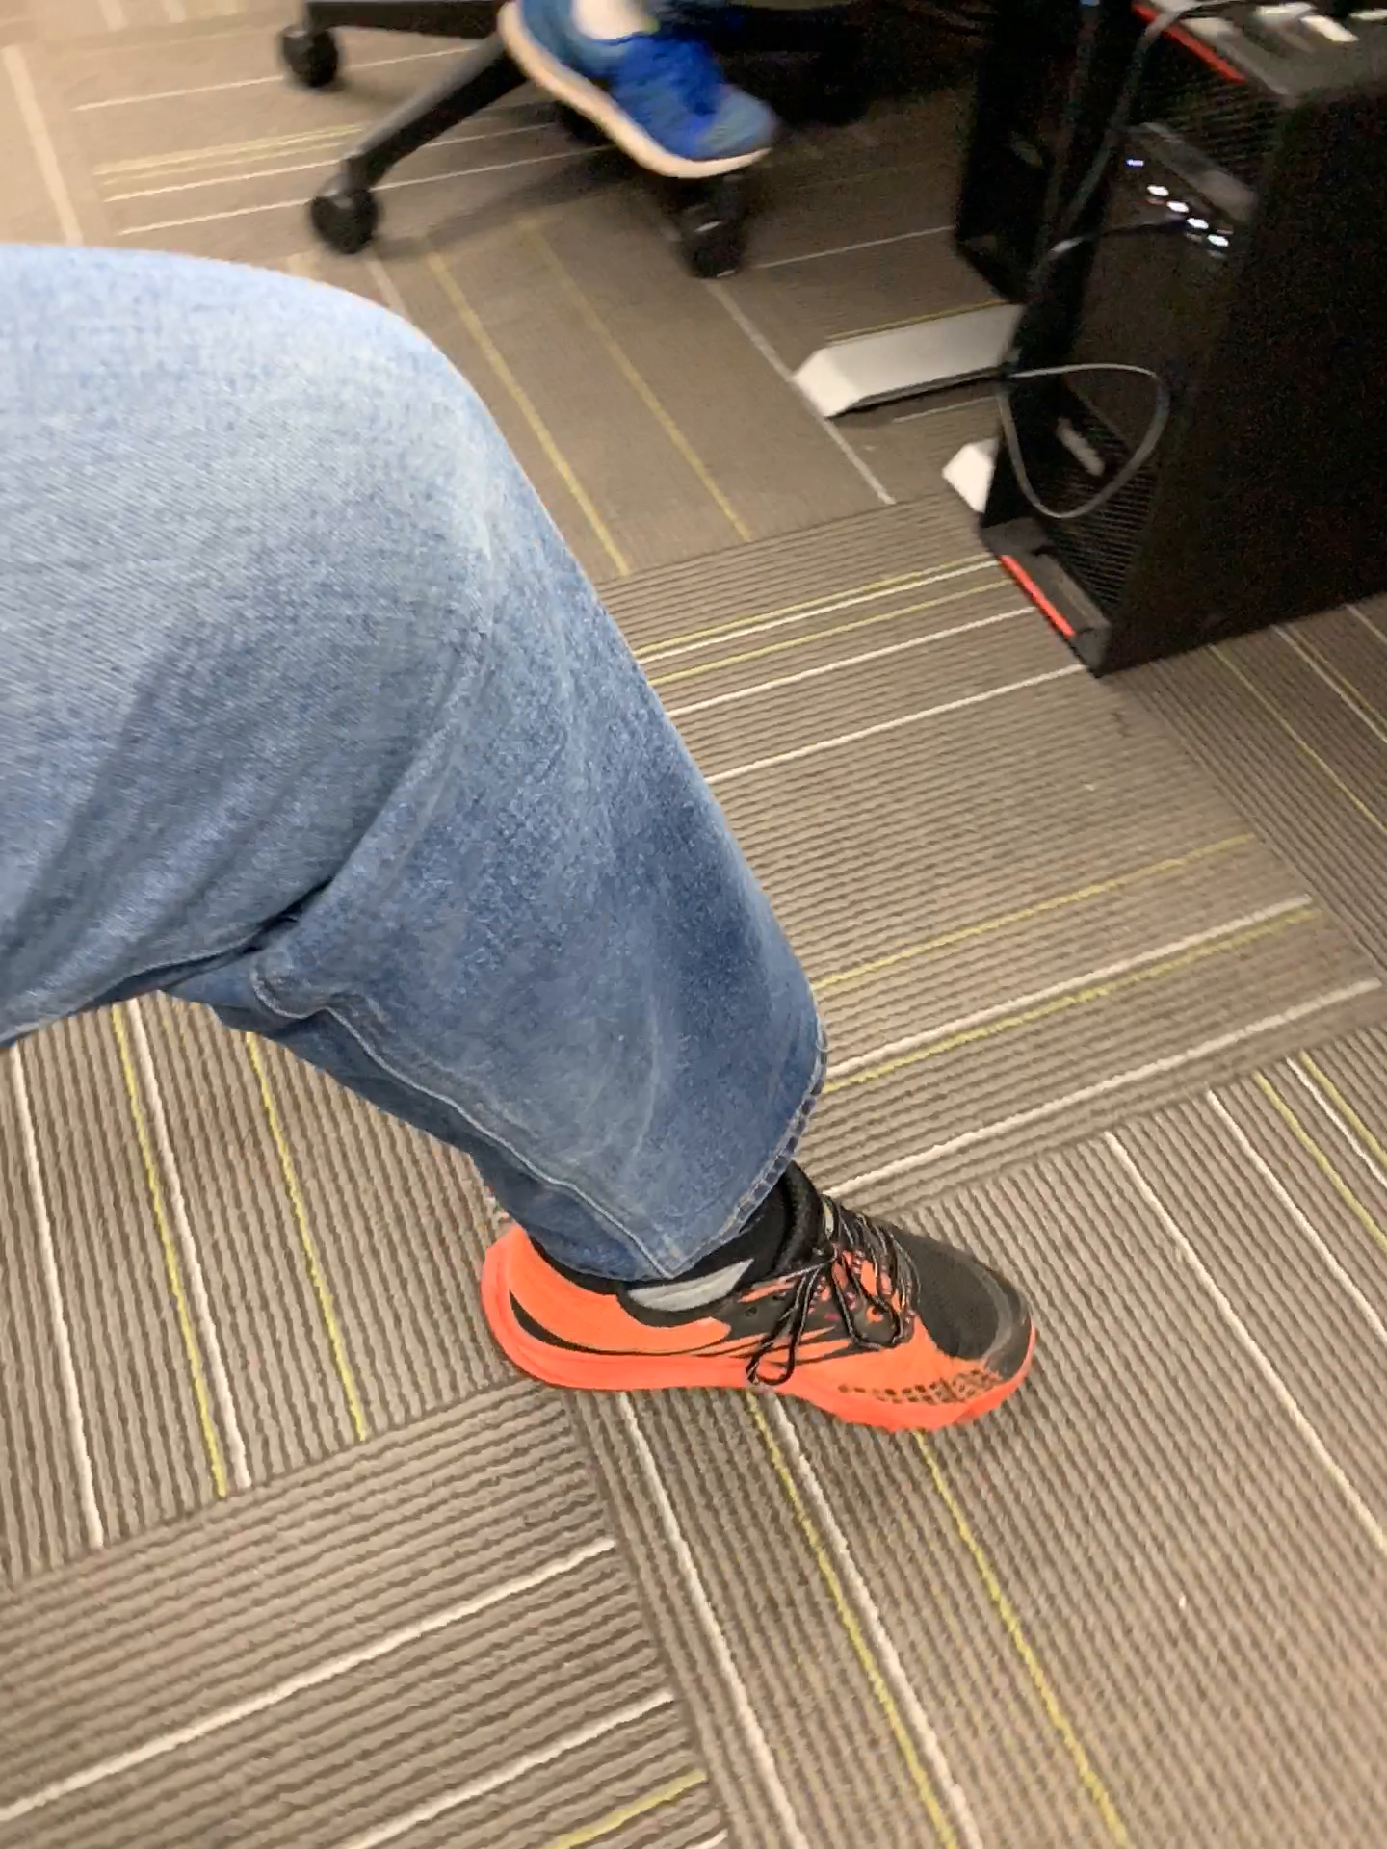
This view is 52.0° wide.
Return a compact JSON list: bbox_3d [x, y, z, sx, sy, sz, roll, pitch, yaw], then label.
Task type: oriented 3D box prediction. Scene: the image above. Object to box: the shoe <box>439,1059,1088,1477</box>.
[{"bbox_3d":[0.036,0.189,0.757,0.314,0.106,0.127,17,41,-21],"label":"shoe"}]
